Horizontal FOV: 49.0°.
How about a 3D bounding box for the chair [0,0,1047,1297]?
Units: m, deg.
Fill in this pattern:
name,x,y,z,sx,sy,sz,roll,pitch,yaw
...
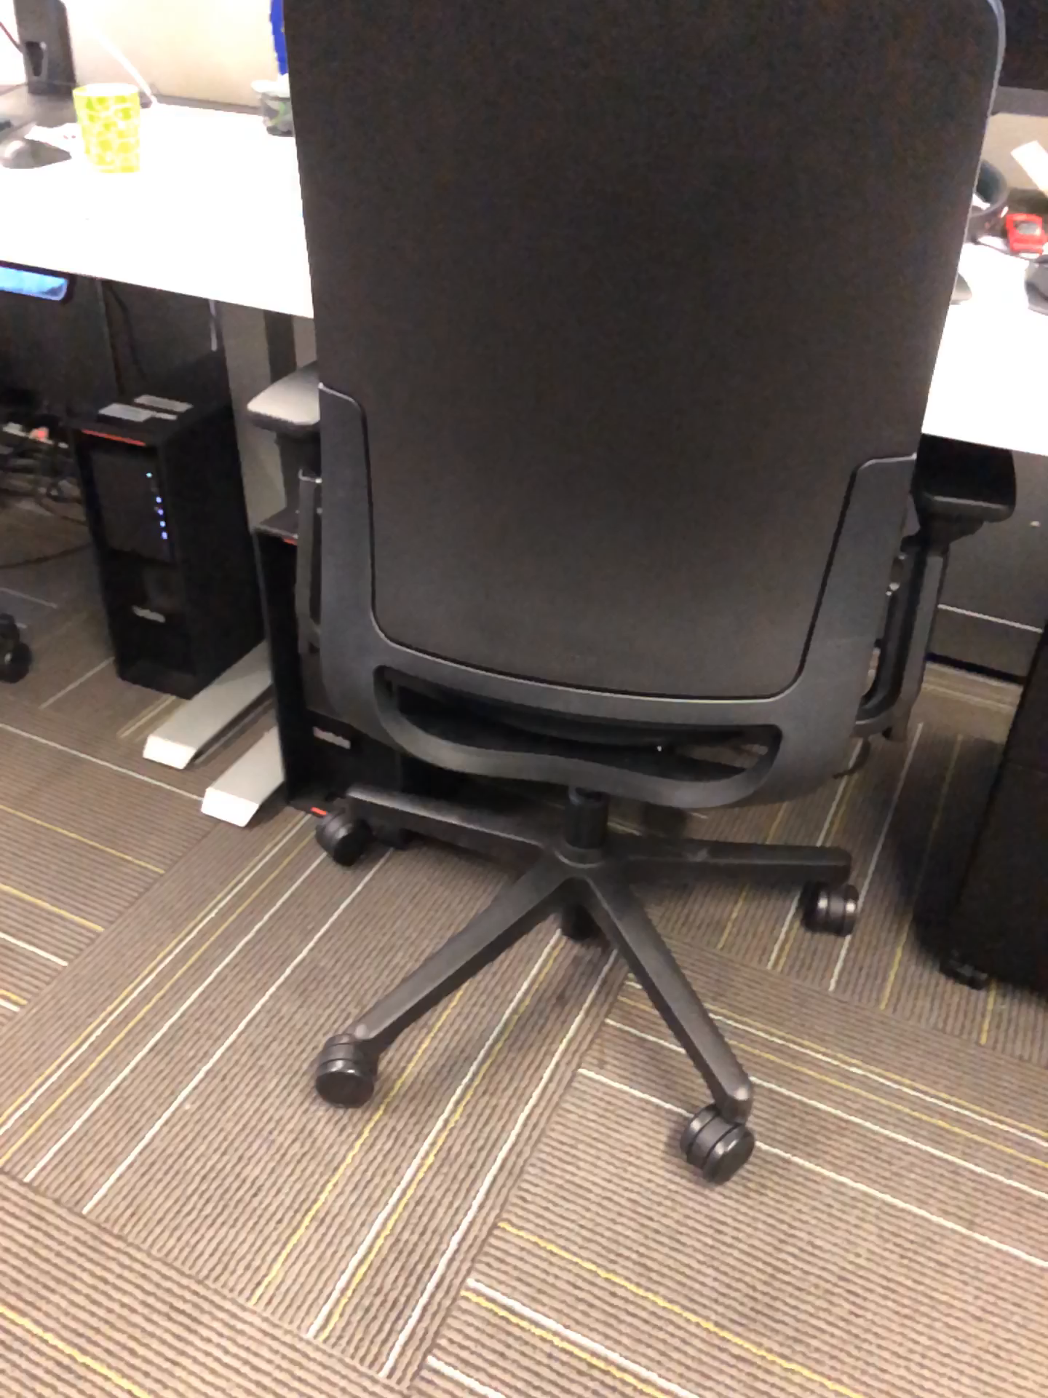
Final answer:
name,x,y,z,sx,sy,sz,roll,pitch,yaw
chair,0.070,-0.133,1.132,0.710,1.044,0.724,11,36,12
